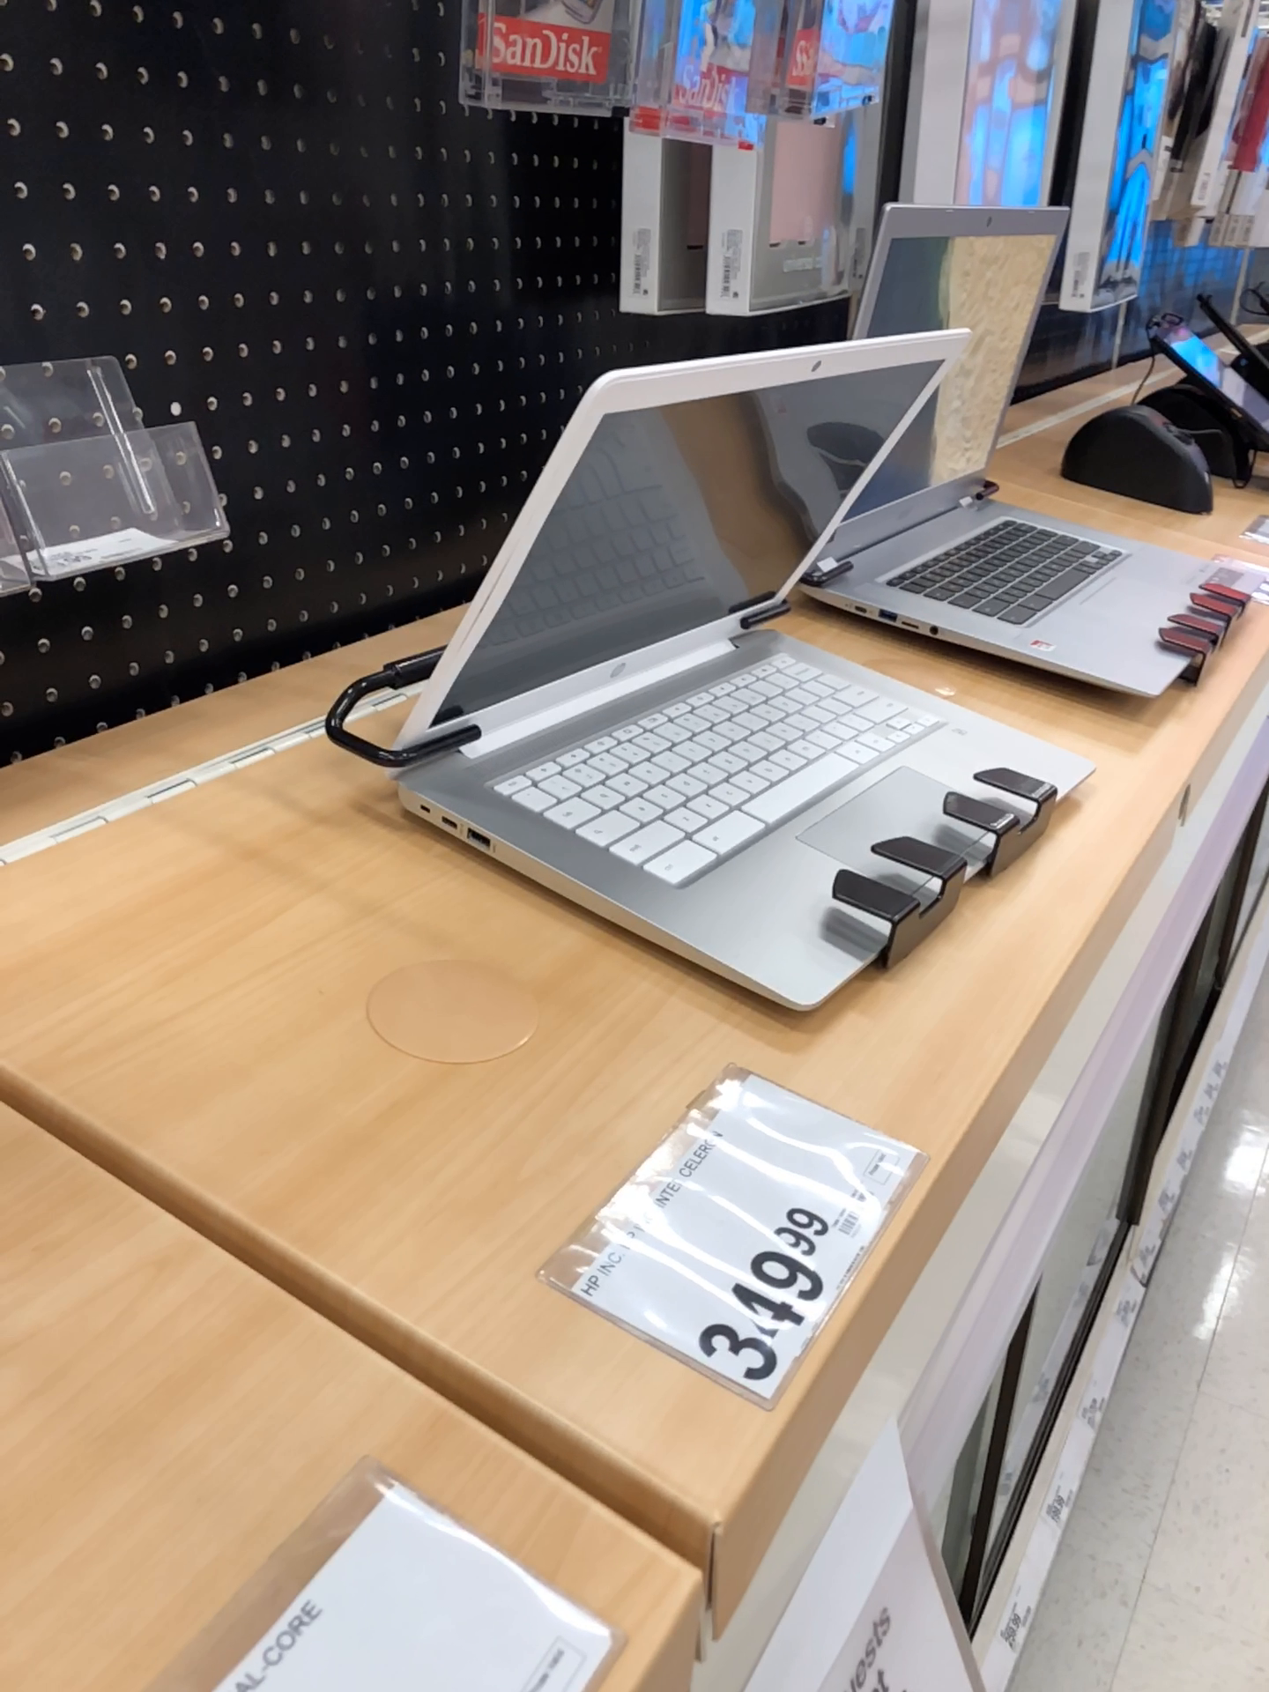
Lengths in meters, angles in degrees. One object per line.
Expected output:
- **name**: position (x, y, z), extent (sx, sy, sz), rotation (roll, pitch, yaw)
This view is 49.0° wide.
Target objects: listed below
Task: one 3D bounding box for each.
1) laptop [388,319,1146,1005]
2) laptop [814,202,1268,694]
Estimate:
- **laptop**: position (0.078, -0.116, 0.645), extent (0.200, 0.172, 0.323), rotation (24, 32, 27)
- **laptop**: position (0.311, -0.296, 0.962), extent (0.230, 0.231, 0.321), rotation (20, 32, 28)
